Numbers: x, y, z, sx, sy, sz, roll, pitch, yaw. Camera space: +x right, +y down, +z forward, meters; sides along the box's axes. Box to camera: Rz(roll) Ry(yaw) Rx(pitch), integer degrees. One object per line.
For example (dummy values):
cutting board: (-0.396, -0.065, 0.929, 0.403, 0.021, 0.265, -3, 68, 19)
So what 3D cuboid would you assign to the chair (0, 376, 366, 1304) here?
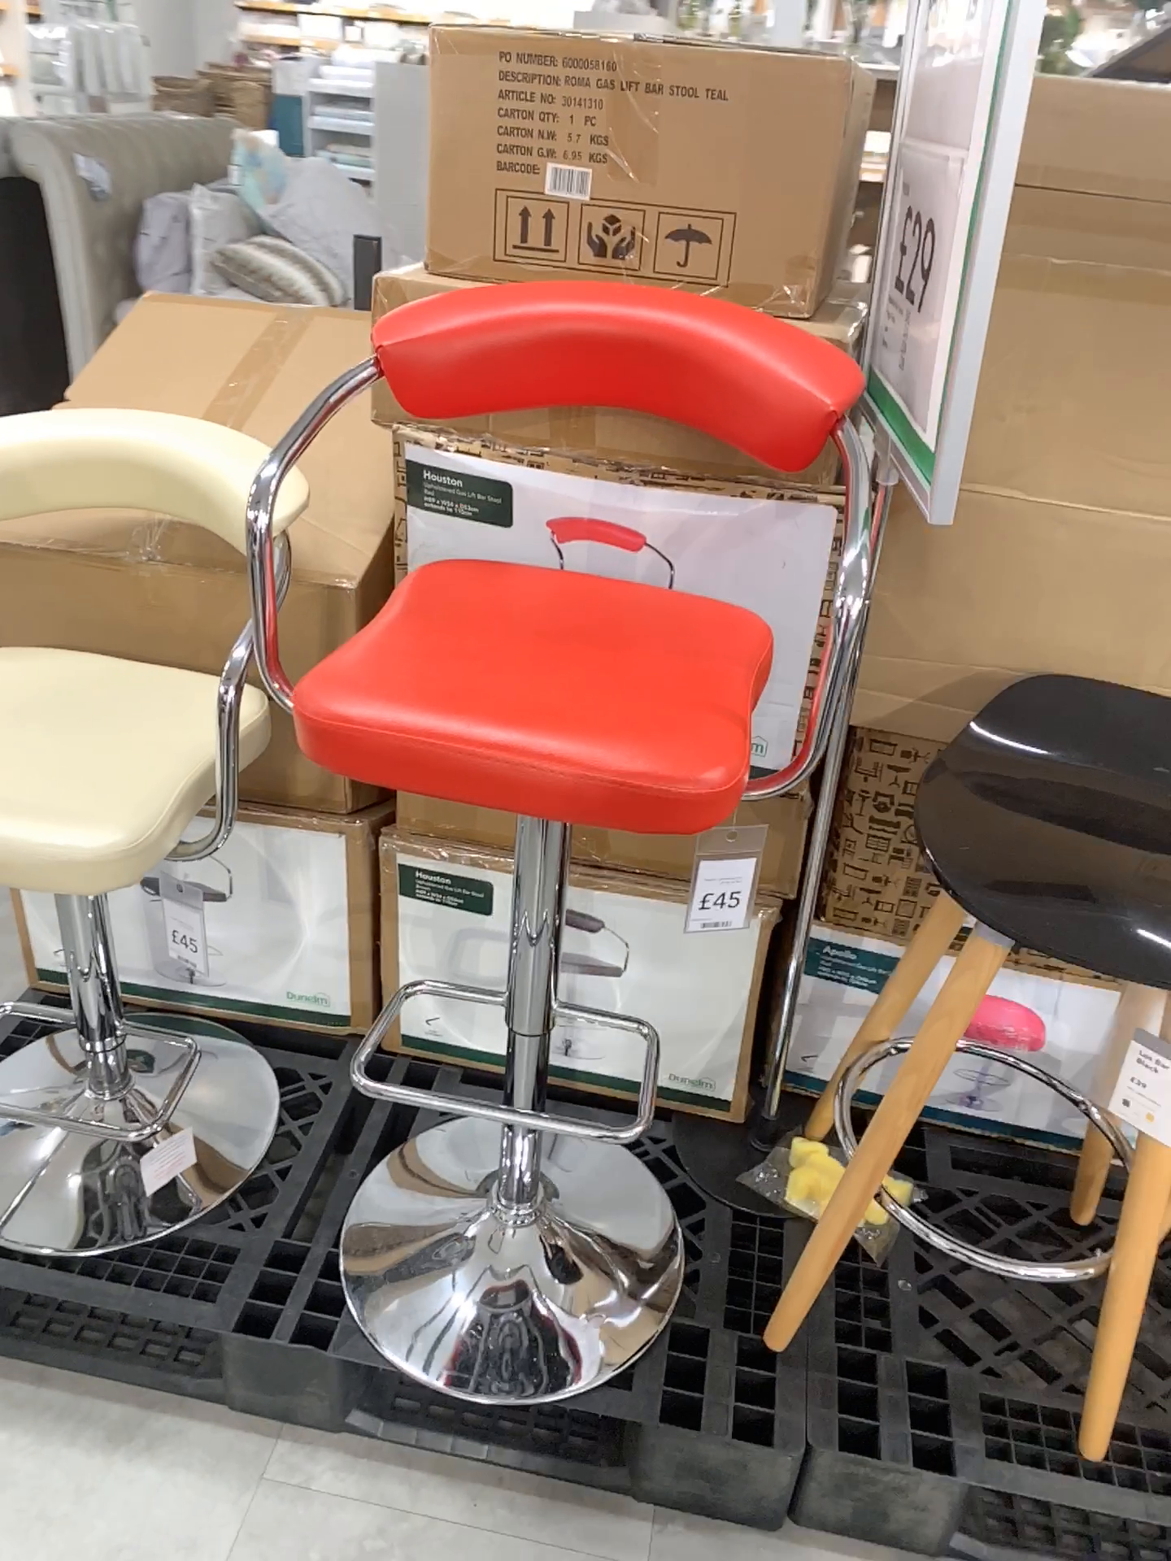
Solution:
chair: (-0.562, 0.057, 1.322, 0.495, 0.839, 0.462, 9, 29, 6)

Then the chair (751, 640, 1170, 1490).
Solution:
chair: (0.452, 0.288, 1.243, 0.425, 0.710, 0.392, 10, 29, 8)

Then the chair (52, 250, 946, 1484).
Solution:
chair: (-0.054, 0.072, 1.148, 0.525, 0.977, 0.533, 9, 29, 6)
